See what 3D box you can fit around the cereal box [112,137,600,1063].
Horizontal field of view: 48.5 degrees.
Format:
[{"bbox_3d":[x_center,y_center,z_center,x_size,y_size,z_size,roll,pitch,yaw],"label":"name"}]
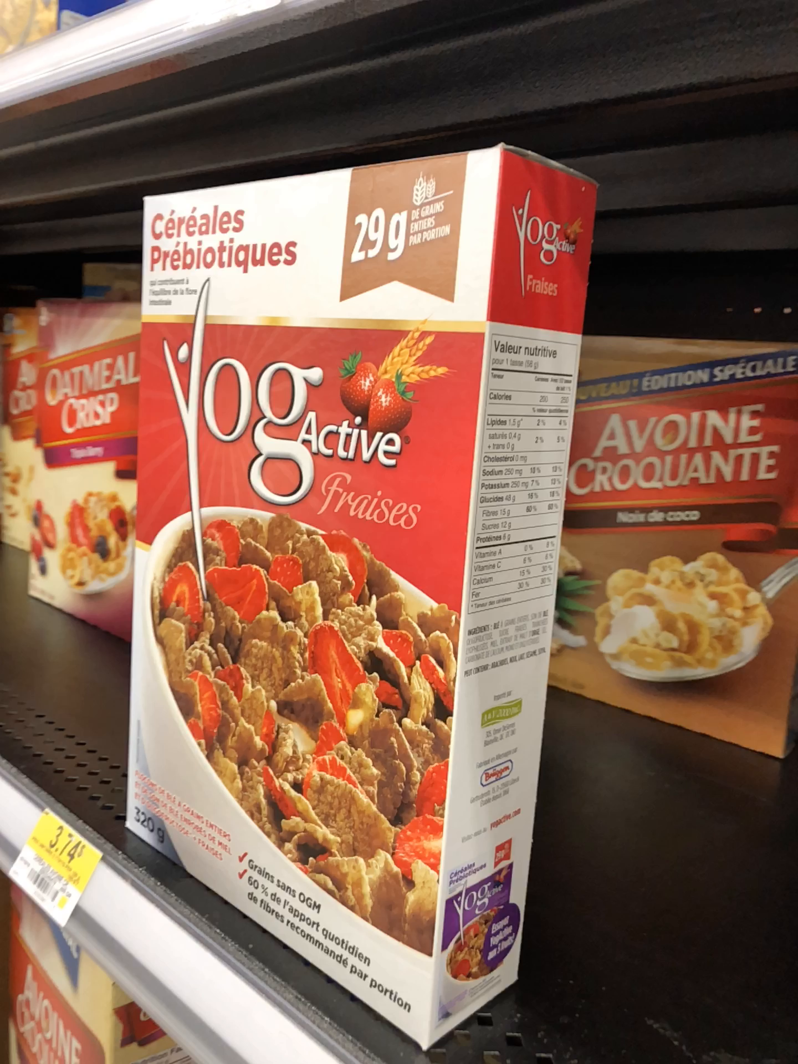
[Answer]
[{"bbox_3d":[-0.037,0.015,0.349,0.200,0.289,0.050,13,13,41],"label":"cereal box"}]
